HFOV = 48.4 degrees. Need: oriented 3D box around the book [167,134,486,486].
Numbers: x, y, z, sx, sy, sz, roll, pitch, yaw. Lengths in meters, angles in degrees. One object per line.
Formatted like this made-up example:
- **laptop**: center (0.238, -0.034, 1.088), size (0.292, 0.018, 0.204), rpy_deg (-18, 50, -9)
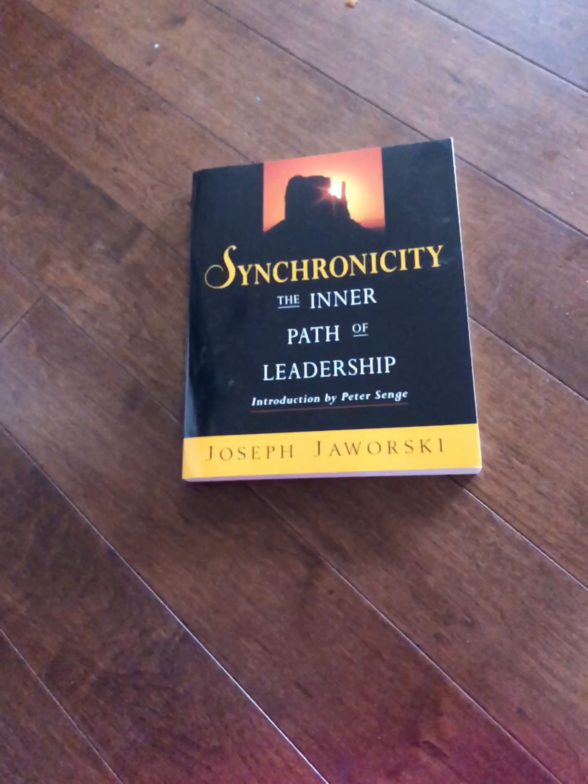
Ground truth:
- **book**: center (0.017, -0.054, 0.432), size (0.190, 0.030, 0.222), rpy_deg (-3, 73, 11)
